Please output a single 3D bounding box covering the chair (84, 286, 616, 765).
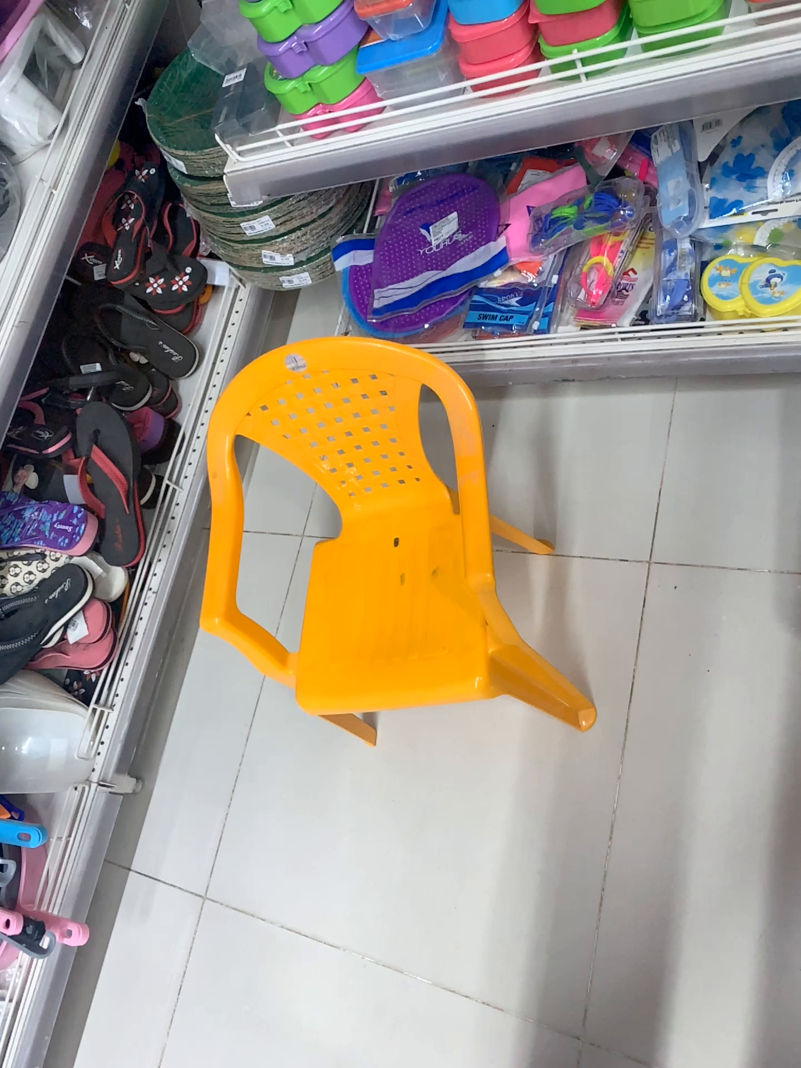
[{"bbox_3d":[-0.021,0.050,0.955,0.401,0.458,0.360,-11,65,25],"label":"chair"}]
